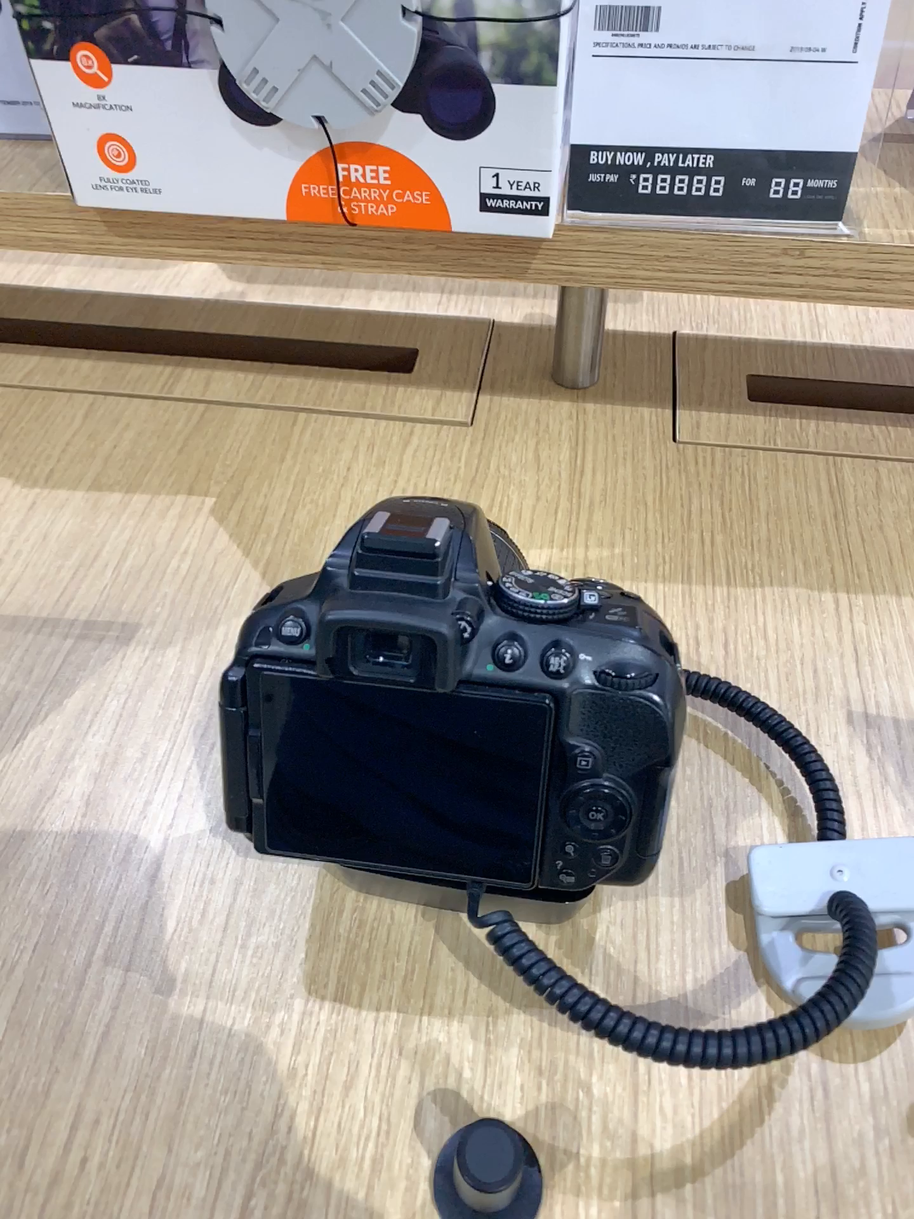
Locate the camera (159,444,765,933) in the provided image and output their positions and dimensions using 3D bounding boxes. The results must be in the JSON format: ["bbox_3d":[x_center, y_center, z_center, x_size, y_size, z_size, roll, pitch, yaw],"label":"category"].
[{"bbox_3d":[0.004,0.012,0.266,0.130,0.080,0.110,6,26,6],"label":"camera"}]
